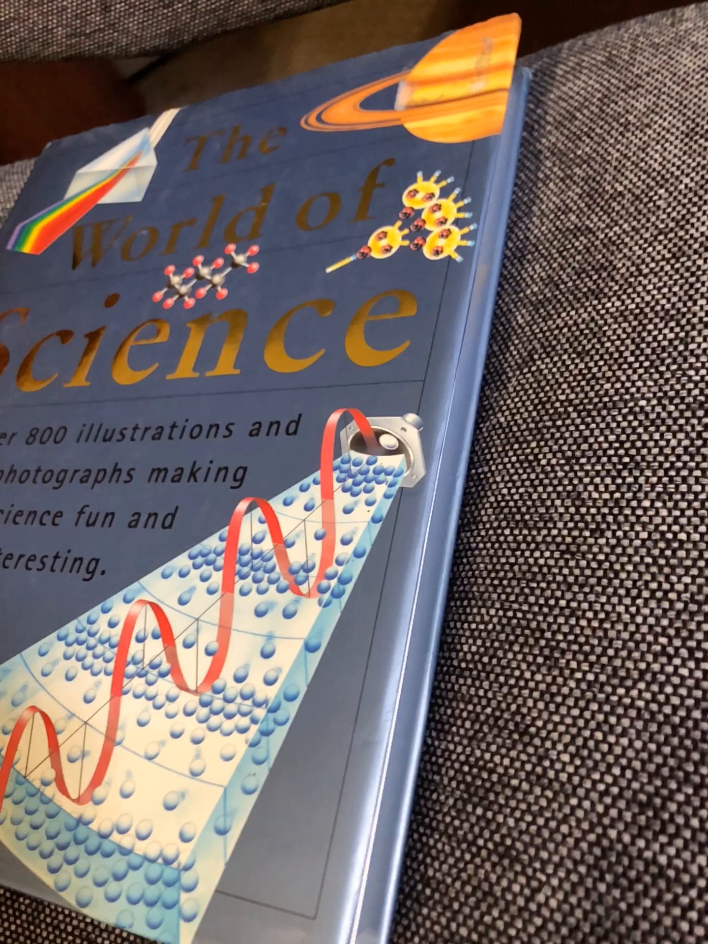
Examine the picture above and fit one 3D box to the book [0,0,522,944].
[{"bbox_3d":[-0.071,-0.020,0.257,0.221,0.030,0.276,-2,62,26],"label":"book"}]
